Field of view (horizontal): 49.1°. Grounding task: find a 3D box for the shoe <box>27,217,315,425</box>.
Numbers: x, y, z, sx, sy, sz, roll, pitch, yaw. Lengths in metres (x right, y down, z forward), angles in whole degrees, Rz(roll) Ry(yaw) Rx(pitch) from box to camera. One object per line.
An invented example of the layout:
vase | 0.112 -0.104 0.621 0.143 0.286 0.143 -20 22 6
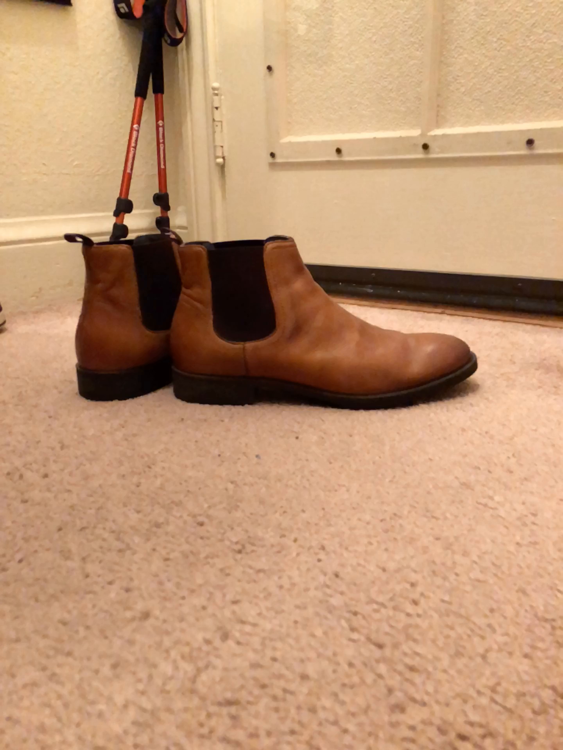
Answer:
shoe | -0.100 -0.082 0.693 0.109 0.165 0.313 13 22 38

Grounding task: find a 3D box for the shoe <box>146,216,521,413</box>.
shoe | 0.045 -0.062 0.591 0.312 0.165 0.110 0 17 3
